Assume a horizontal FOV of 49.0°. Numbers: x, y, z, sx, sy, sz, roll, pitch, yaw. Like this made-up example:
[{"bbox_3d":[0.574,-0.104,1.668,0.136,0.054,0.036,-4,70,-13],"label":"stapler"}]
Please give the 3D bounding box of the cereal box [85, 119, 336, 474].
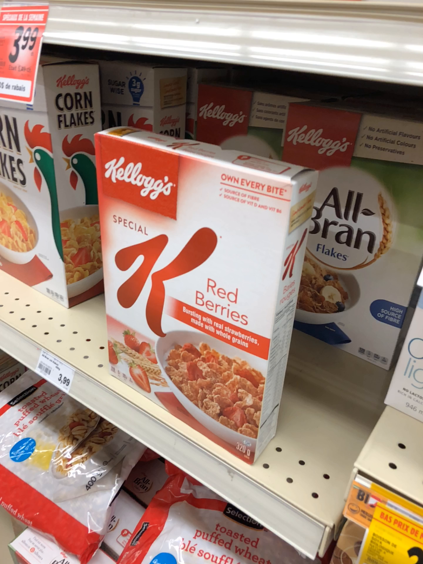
[{"bbox_3d":[-0.016,0.010,0.440,0.211,0.278,0.060,23,35,32],"label":"cereal box"}]
